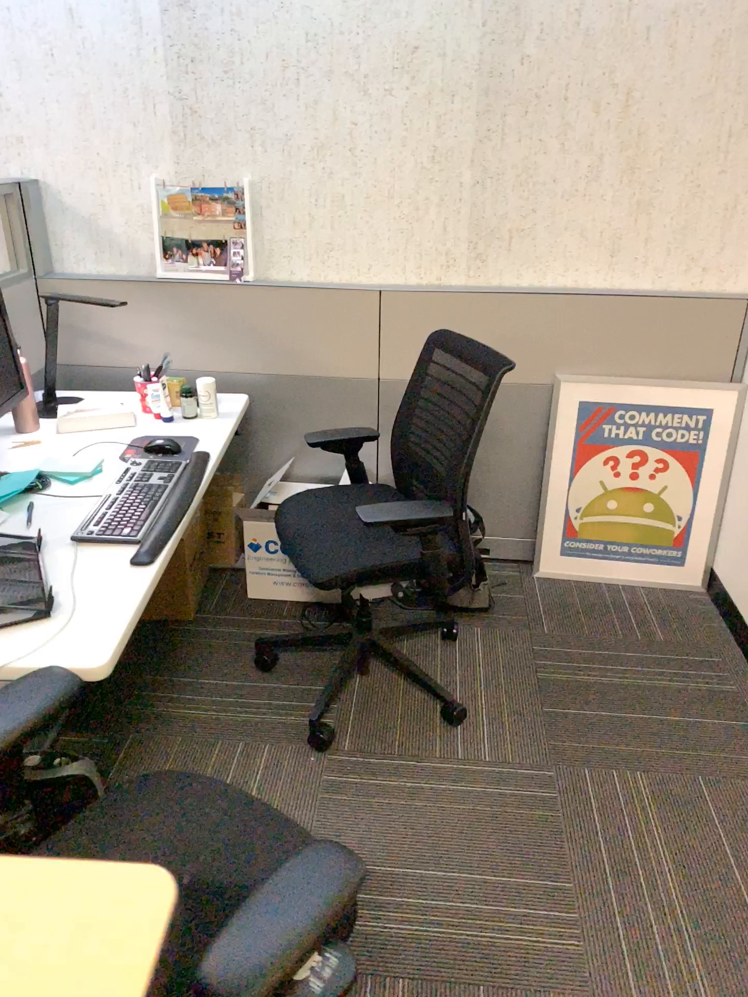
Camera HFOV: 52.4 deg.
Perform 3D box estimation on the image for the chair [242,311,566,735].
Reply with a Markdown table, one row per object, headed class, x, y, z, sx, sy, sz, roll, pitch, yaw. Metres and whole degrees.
| class | x | y | z | sx | sy | sz | roll | pitch | yaw |
| --- | --- | --- | --- | --- | --- | --- | --- | --- | --- |
| chair | 0.040 | 0.020 | 2.241 | 0.650 | 0.955 | 0.674 | -10 | 27 | -20 |
